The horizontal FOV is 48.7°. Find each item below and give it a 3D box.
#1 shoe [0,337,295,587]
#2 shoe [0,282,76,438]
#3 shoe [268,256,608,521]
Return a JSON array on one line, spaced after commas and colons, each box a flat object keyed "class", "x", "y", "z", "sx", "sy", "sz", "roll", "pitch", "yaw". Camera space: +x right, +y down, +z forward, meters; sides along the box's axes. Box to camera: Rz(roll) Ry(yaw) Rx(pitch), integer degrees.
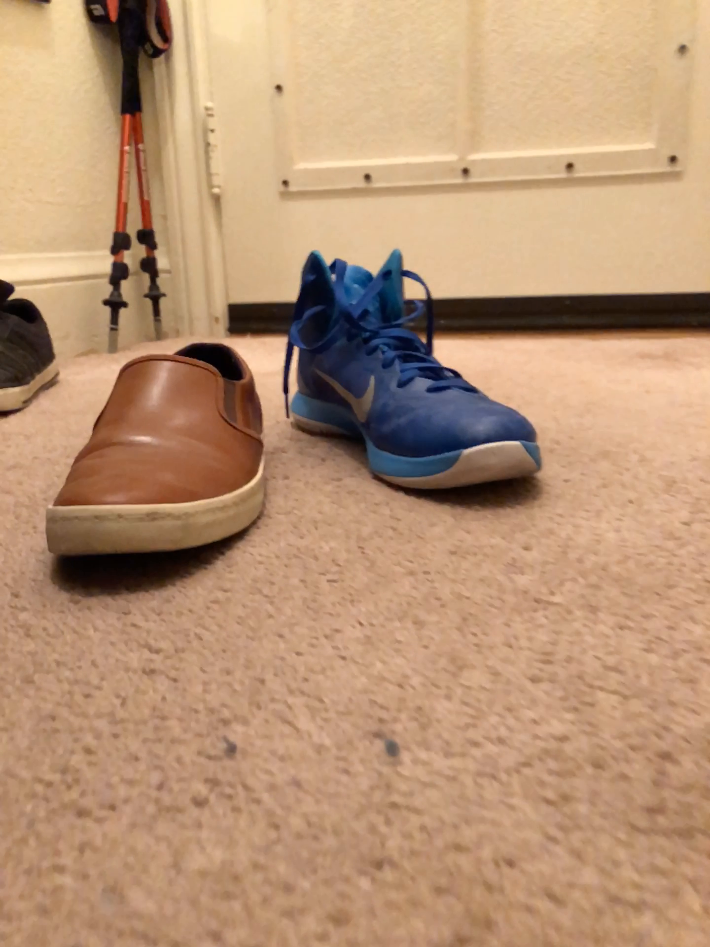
[{"class": "shoe", "x": -0.108, "y": -0.027, "z": 0.498, "sx": 0.105, "sy": 0.083, "sz": 0.283, "roll": -1, "pitch": 16, "yaw": 3}, {"class": "shoe", "x": -0.387, "y": -0.129, "z": 0.806, "sx": 0.115, "sy": 0.113, "sz": 0.293, "roll": -3, "pitch": 17, "yaw": -6}, {"class": "shoe", "x": 0.039, "y": -0.086, "z": 0.584, "sx": 0.115, "sy": 0.143, "sz": 0.293, "roll": -9, "pitch": 18, "yaw": -22}]
